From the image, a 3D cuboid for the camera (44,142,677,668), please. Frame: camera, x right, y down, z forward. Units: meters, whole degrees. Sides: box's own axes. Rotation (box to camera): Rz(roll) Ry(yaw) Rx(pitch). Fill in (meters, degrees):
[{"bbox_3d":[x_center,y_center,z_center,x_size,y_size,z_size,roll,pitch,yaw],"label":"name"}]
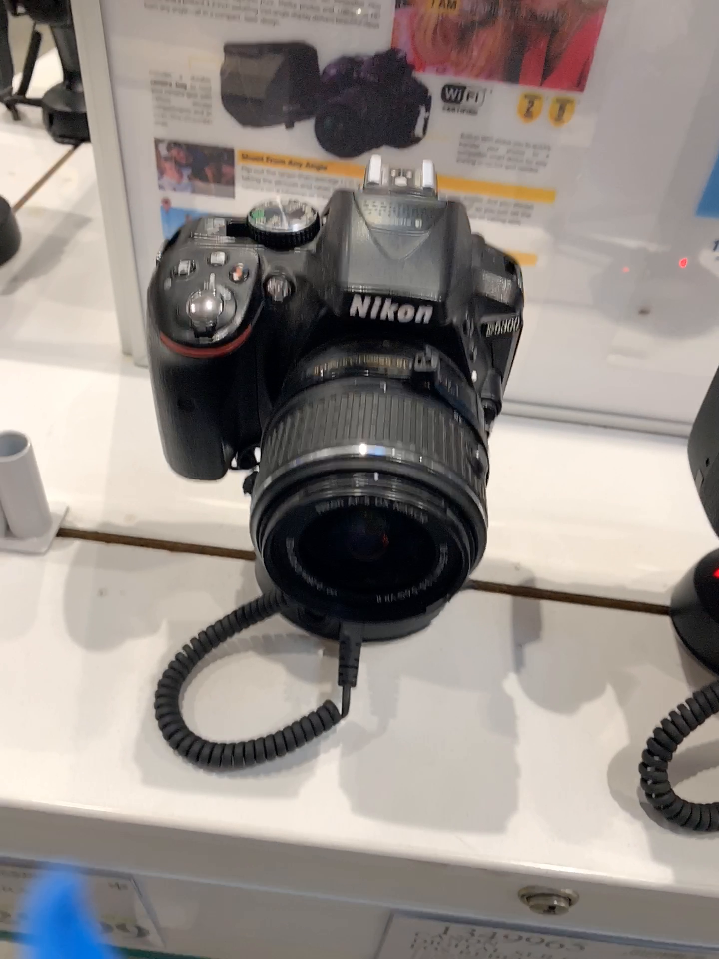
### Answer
[{"bbox_3d":[-0.001,-0.030,0.216,0.120,0.069,0.141,5,43,-3],"label":"camera"}]
